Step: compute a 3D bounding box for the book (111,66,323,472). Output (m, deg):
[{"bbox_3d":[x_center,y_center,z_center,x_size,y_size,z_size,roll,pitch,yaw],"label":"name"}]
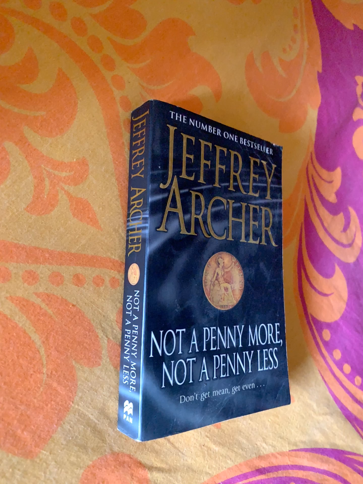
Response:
[{"bbox_3d":[0.022,0.011,0.195,0.110,0.030,0.160,7,78,-38],"label":"book"}]
